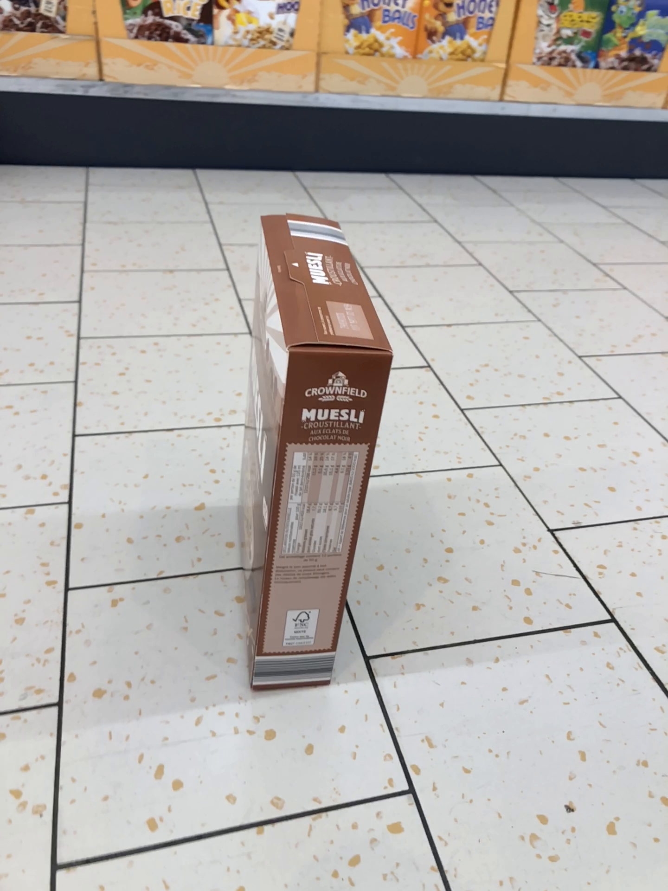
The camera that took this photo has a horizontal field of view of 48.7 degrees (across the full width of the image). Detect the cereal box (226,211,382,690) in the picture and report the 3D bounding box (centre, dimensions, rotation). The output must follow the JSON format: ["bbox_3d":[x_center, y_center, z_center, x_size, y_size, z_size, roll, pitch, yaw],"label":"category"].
[{"bbox_3d":[-0.035,-0.002,0.486,0.070,0.238,0.201,0,34,-9],"label":"cereal box"}]
